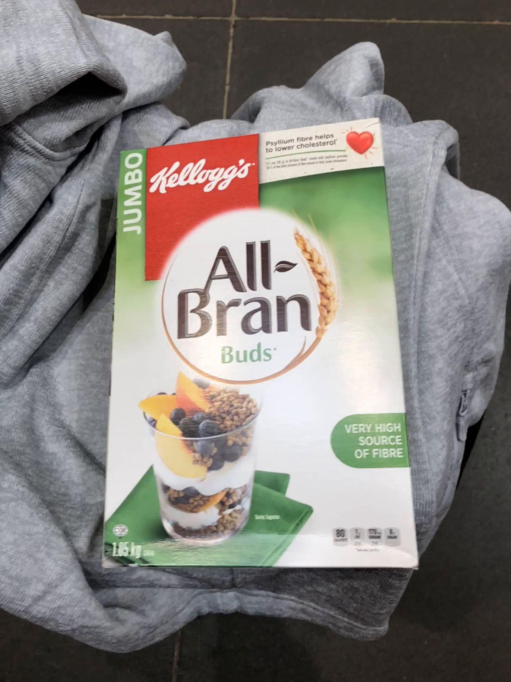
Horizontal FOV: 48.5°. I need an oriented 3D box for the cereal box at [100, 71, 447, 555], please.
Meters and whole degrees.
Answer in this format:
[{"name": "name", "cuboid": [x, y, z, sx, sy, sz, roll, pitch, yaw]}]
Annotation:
[{"name": "cereal box", "cuboid": [0.005, -0.018, 0.394, 0.200, 0.070, 0.300, -6, 74, 11]}]
